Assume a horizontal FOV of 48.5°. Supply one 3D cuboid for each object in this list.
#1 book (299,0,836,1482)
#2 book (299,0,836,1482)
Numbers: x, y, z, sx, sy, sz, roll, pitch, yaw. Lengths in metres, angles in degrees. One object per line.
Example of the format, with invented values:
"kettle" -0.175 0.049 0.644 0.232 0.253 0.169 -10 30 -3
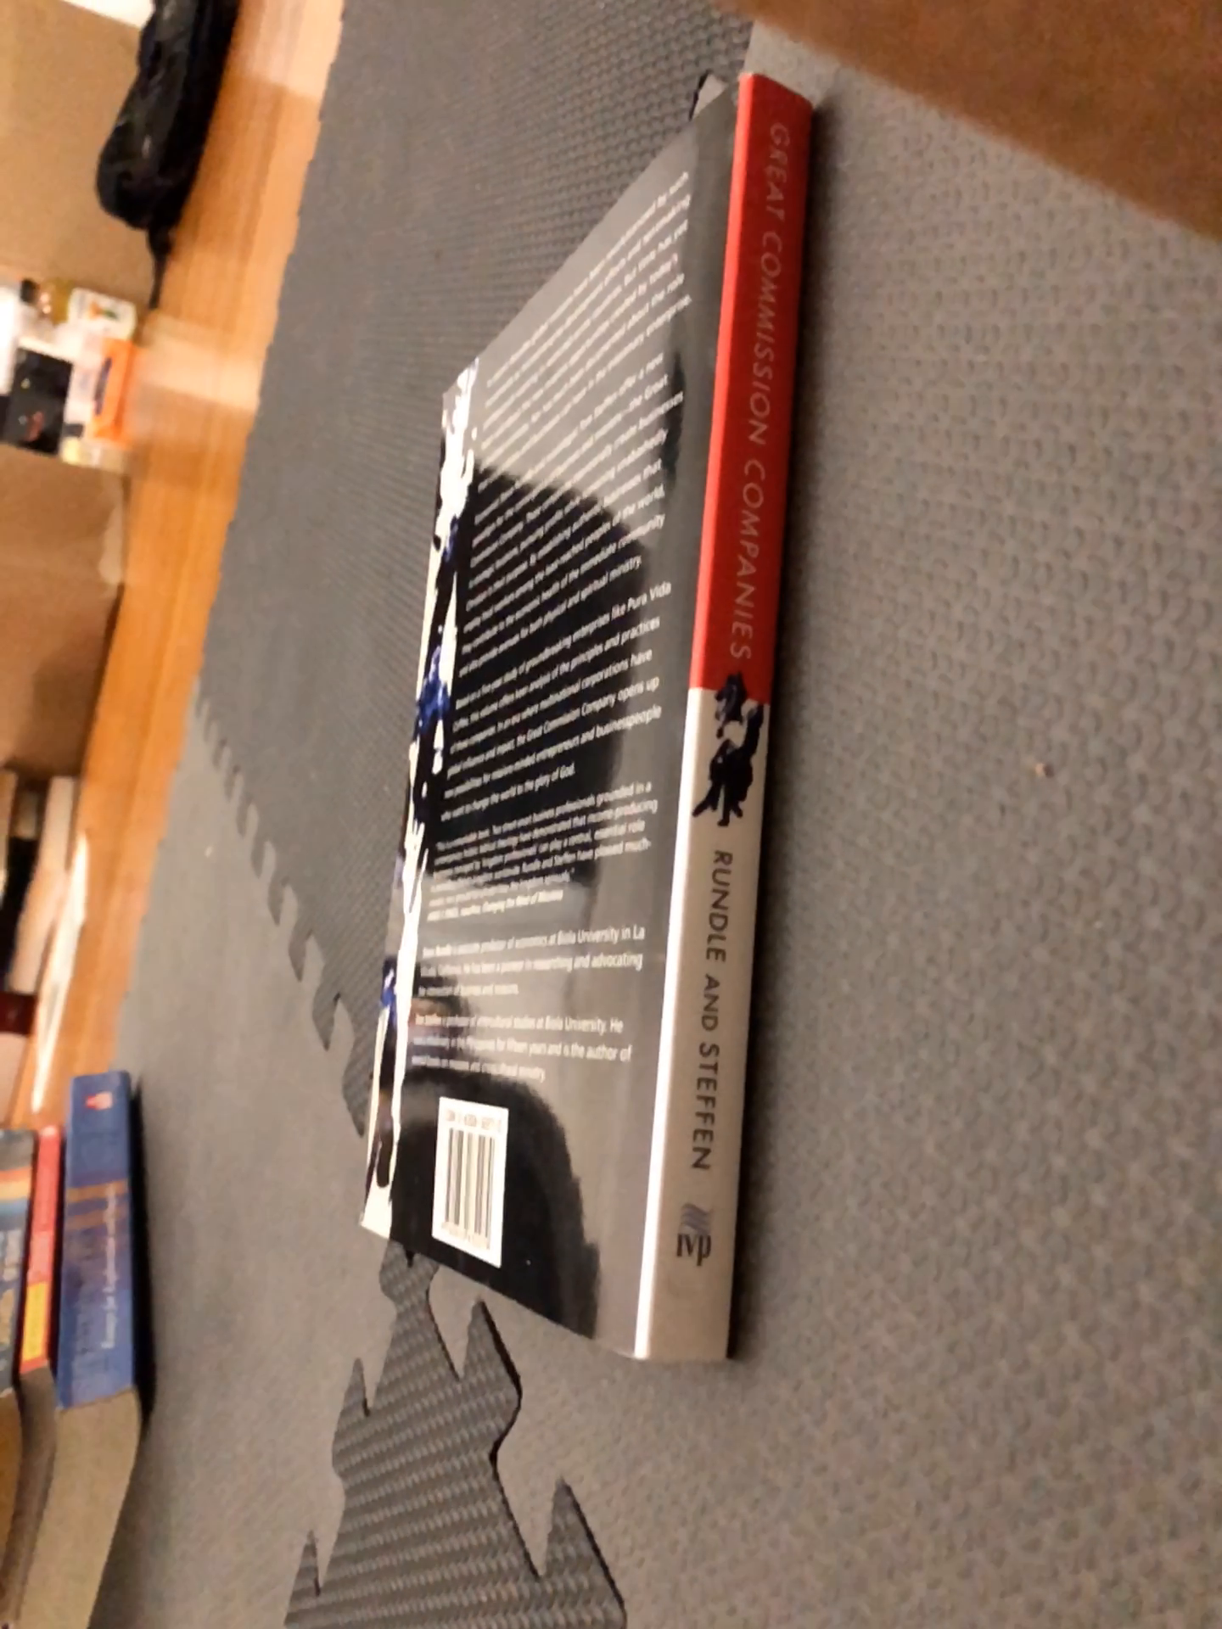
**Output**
"book" -0.017 -0.016 0.266 0.151 0.020 0.230 -17 65 63
"book" -0.017 -0.016 0.266 0.151 0.020 0.230 -17 65 63
